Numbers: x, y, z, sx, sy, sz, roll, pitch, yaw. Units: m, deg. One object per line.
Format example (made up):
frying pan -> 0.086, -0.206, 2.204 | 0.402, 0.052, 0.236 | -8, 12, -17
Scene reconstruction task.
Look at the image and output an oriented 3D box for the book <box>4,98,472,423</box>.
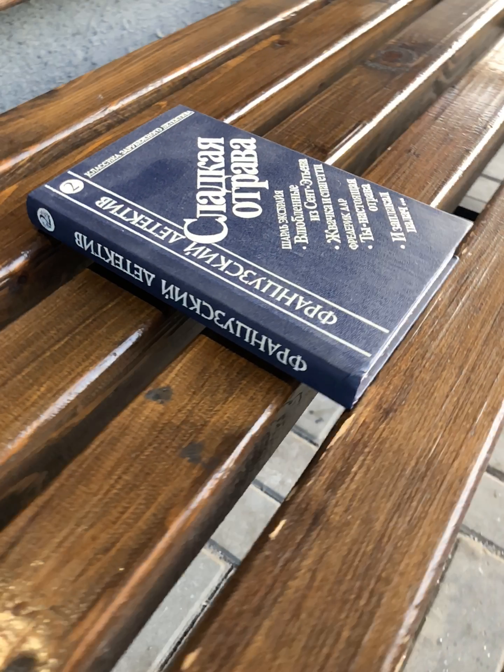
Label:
book -> -0.007, -0.060, 0.310 | 0.212, 0.030, 0.133 | 29, 53, 19
